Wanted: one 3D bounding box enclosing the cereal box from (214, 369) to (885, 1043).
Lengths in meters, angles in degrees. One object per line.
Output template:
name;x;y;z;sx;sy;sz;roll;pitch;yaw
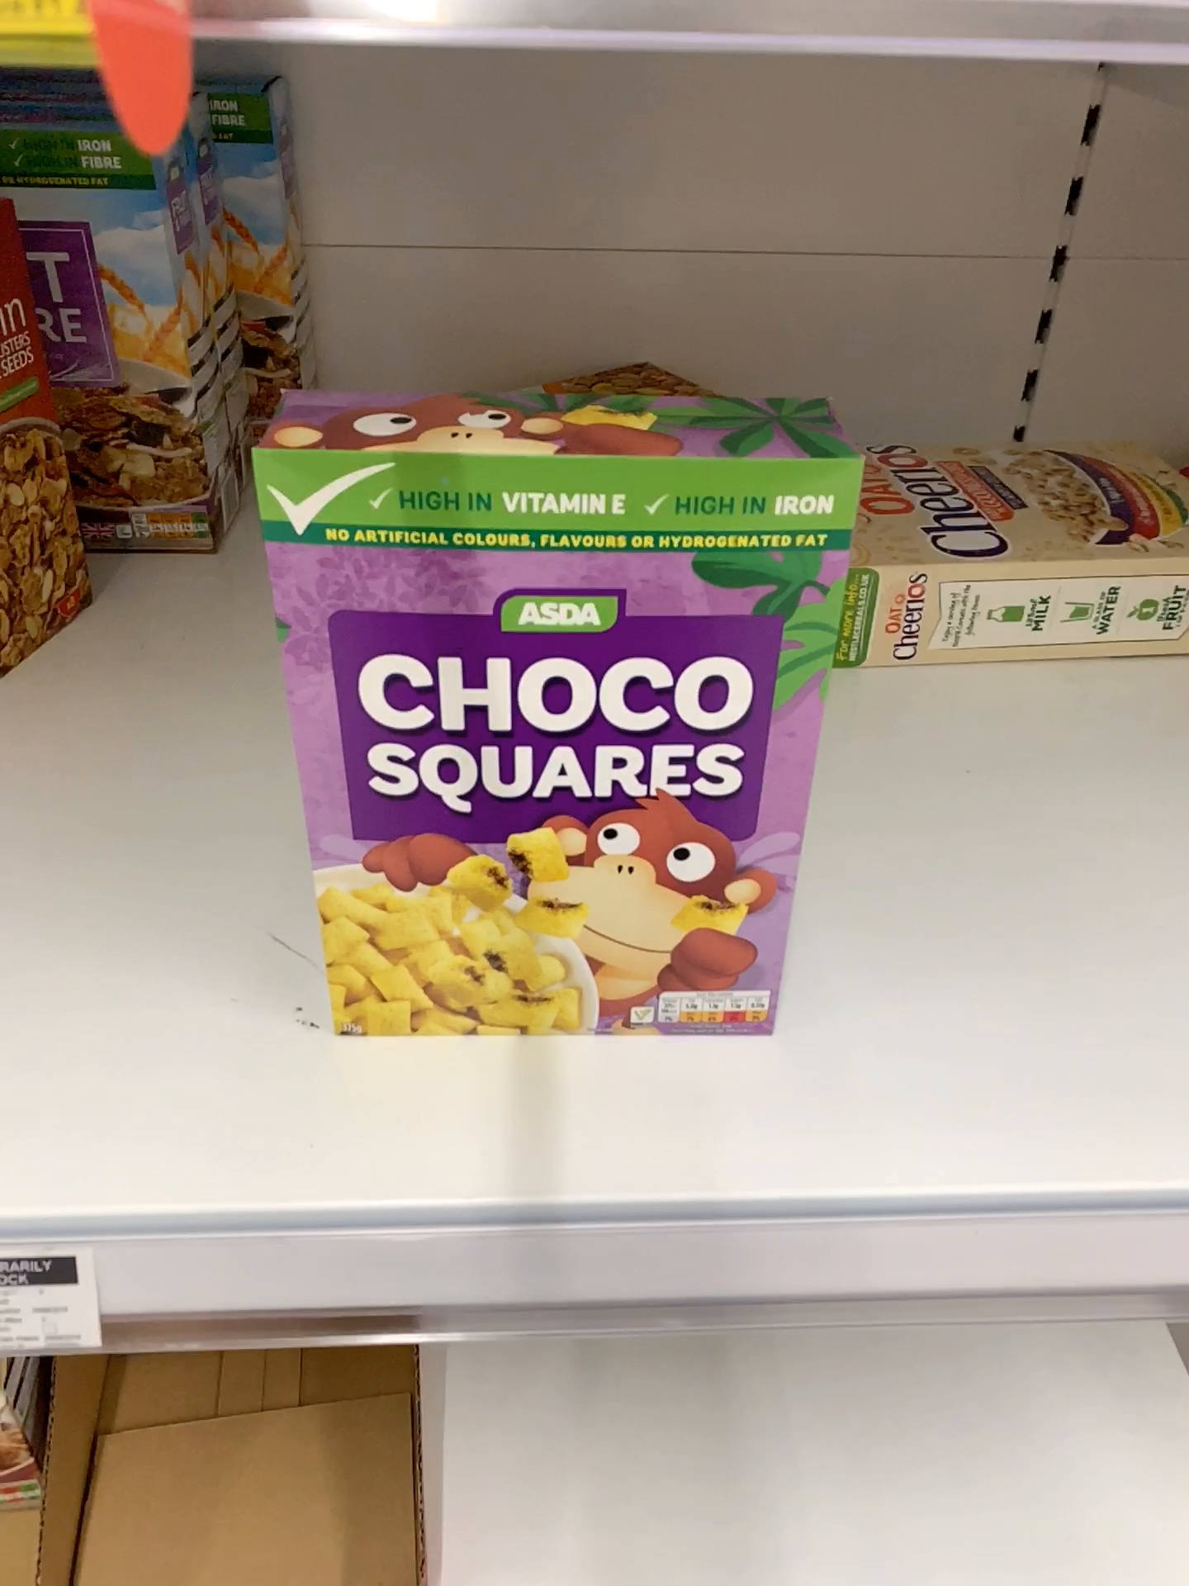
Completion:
cereal box;-0.016;-0.017;0.441;0.190;0.248;0.061;1;36;-2
